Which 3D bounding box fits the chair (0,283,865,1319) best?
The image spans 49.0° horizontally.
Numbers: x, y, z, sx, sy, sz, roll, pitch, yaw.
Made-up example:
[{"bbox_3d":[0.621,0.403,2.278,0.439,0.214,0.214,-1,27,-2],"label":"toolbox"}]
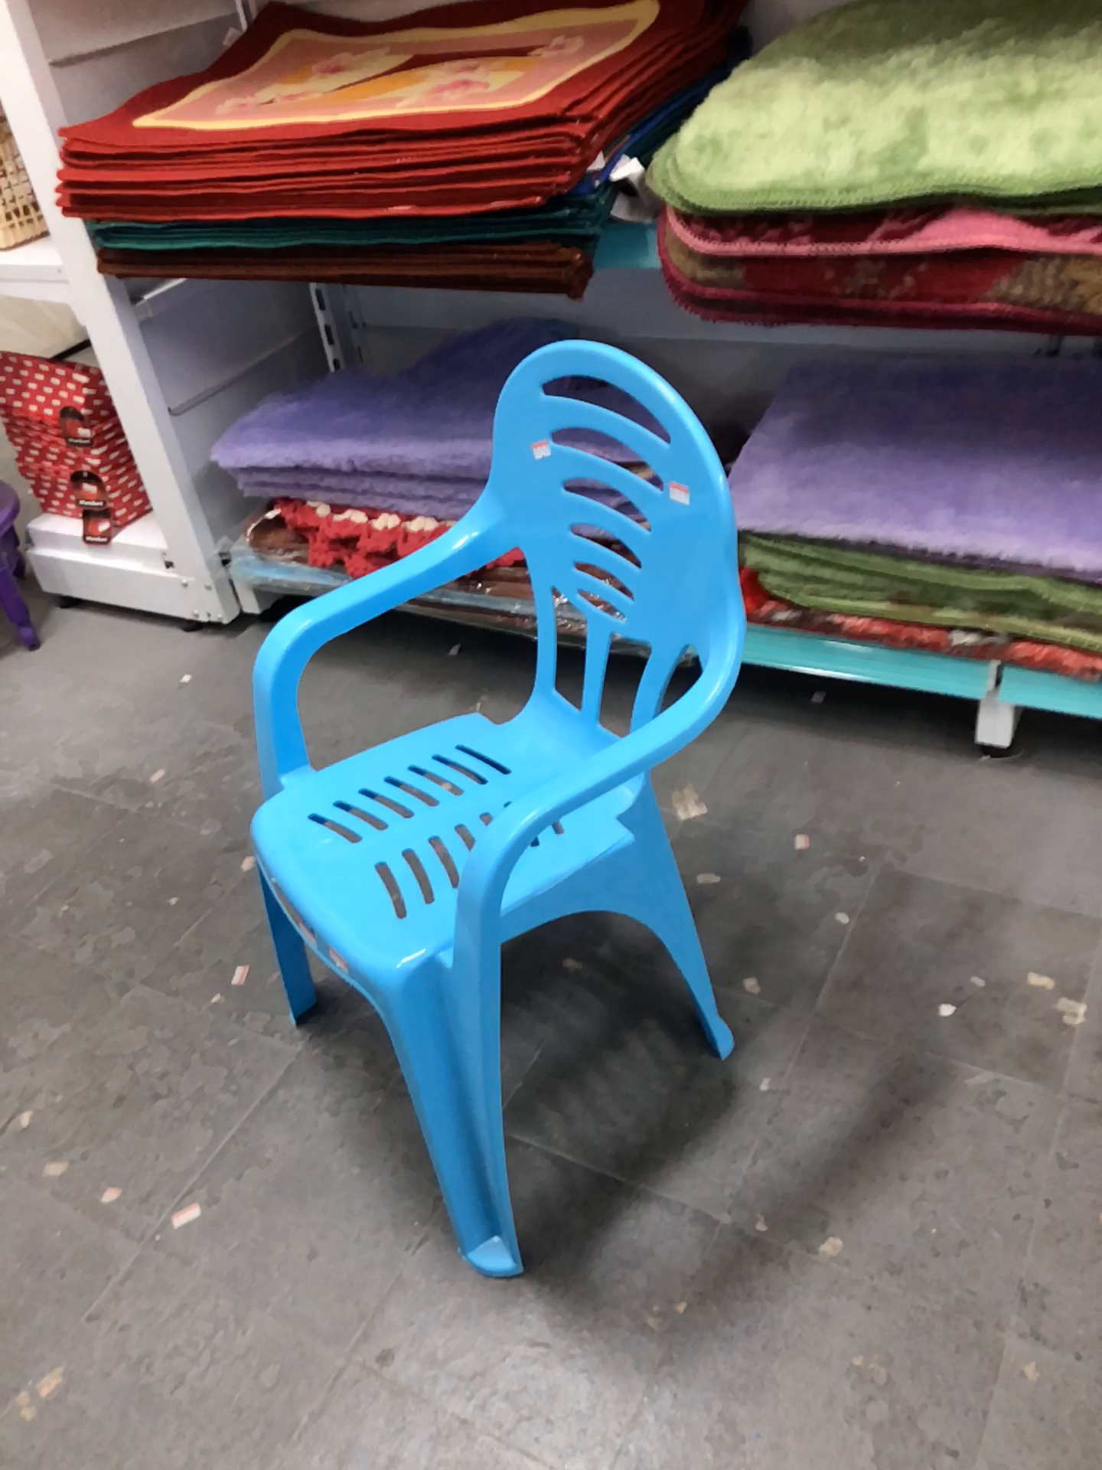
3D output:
[{"bbox_3d":[-0.060,0.021,0.888,0.391,0.516,0.402,-29,40,-23],"label":"chair"}]
